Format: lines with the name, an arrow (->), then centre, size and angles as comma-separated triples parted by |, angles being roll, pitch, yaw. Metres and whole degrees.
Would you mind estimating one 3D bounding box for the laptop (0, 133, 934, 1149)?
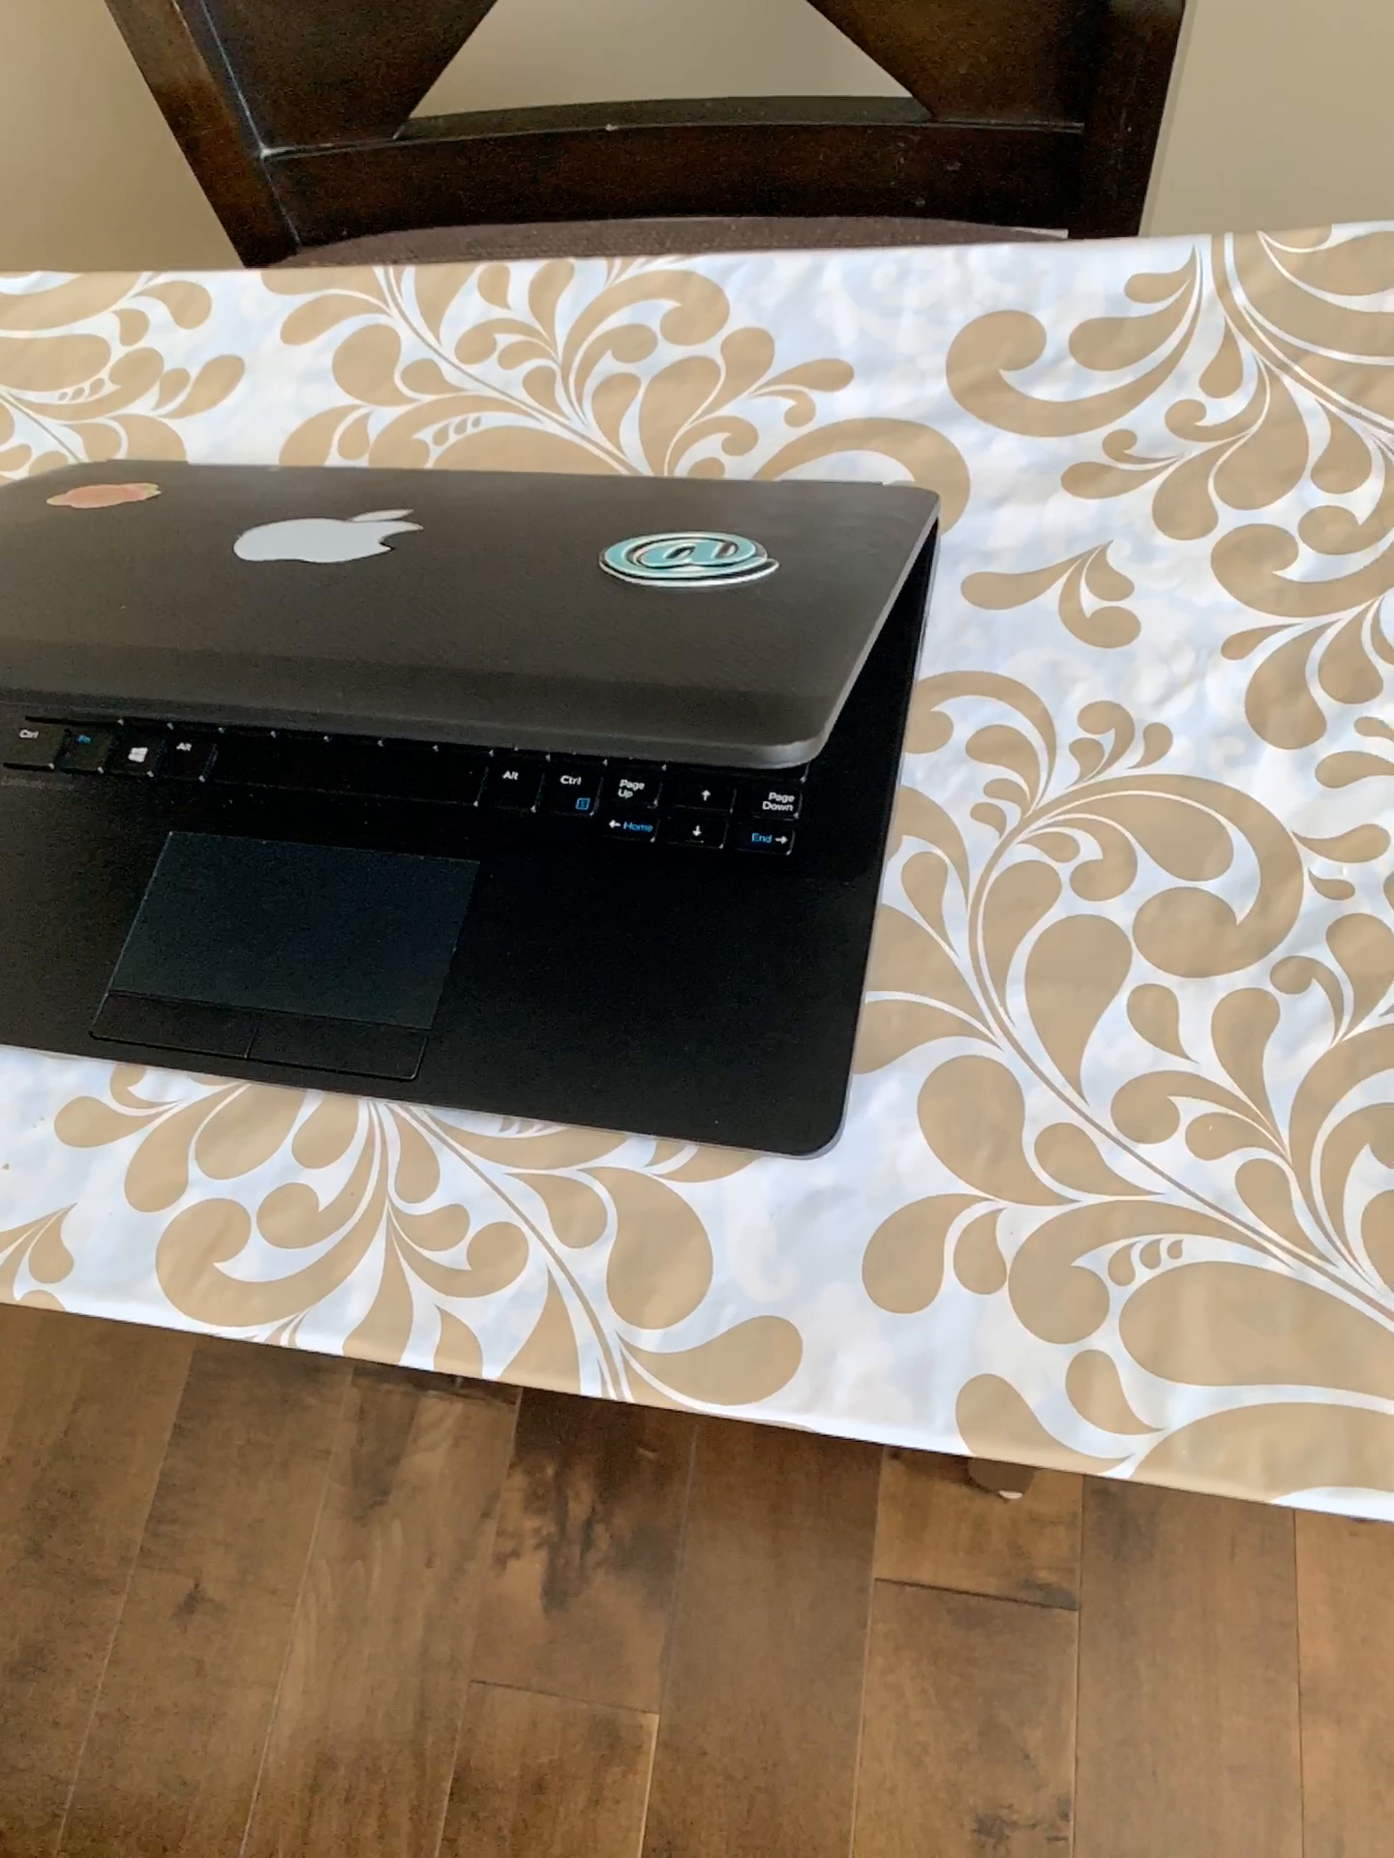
laptop -> -0.103, -0.079, 0.369 | 0.300, 0.127, 0.199 | 6, 65, 13
